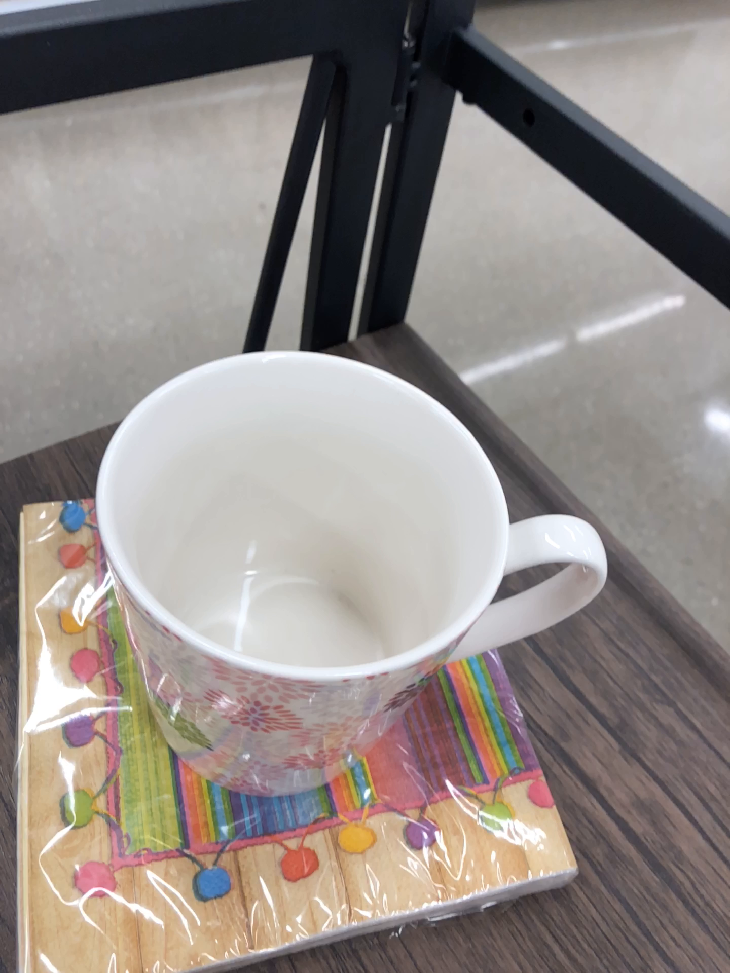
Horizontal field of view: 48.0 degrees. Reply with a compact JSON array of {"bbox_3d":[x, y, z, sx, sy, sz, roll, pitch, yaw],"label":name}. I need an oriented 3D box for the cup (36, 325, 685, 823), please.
[{"bbox_3d":[-0.010,0.025,0.242,0.140,0.100,0.100,-2,53,-12],"label":"cup"}]
